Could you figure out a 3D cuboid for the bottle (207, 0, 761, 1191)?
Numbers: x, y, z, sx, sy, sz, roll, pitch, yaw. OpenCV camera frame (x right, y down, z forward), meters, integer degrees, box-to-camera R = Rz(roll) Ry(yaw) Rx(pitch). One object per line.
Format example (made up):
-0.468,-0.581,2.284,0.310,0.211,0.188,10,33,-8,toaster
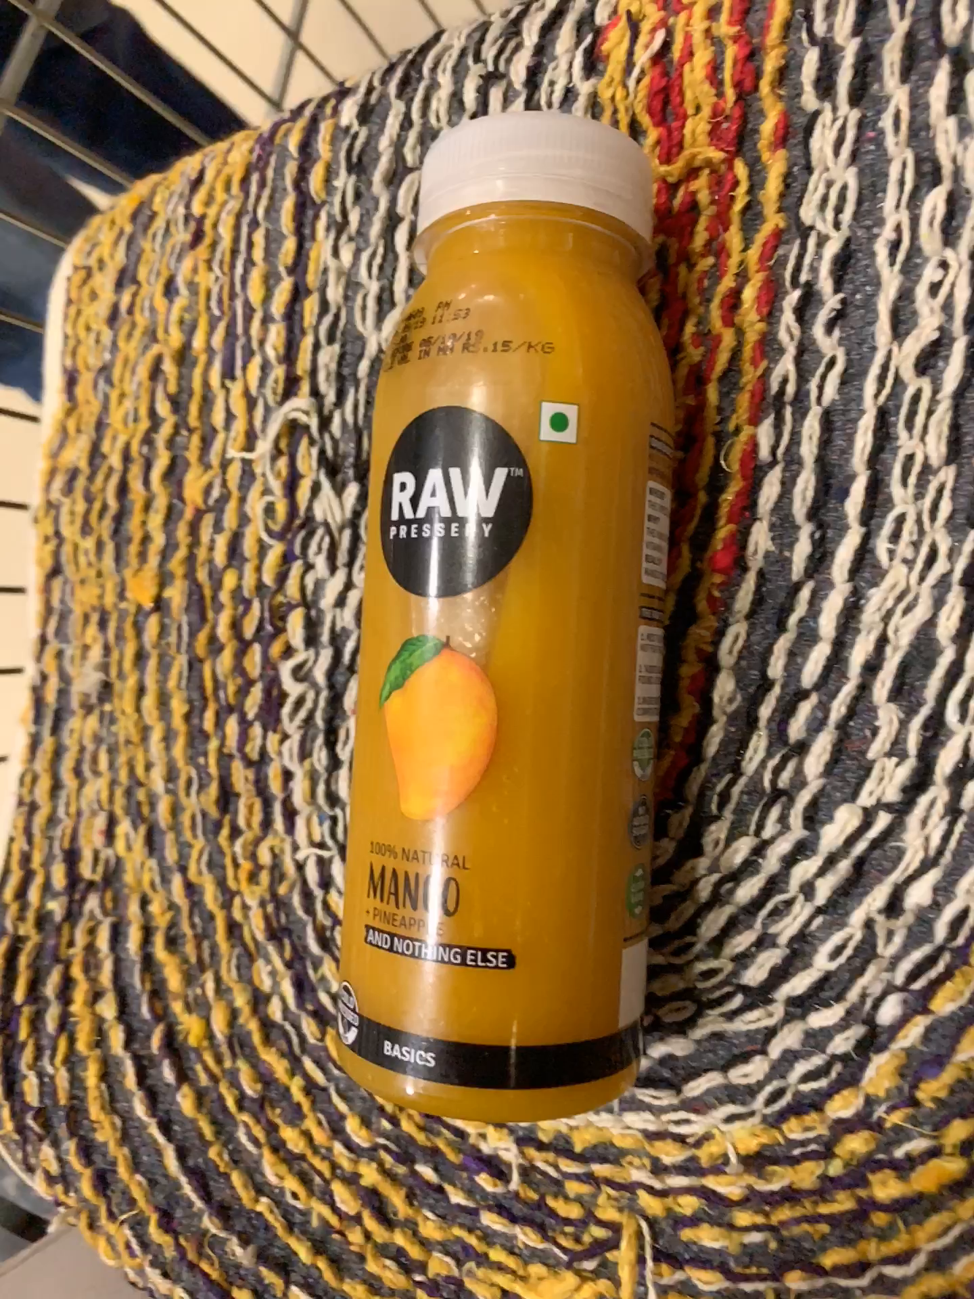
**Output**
0.003,-0.015,0.171,0.060,0.050,0.170,3,86,31,bottle
